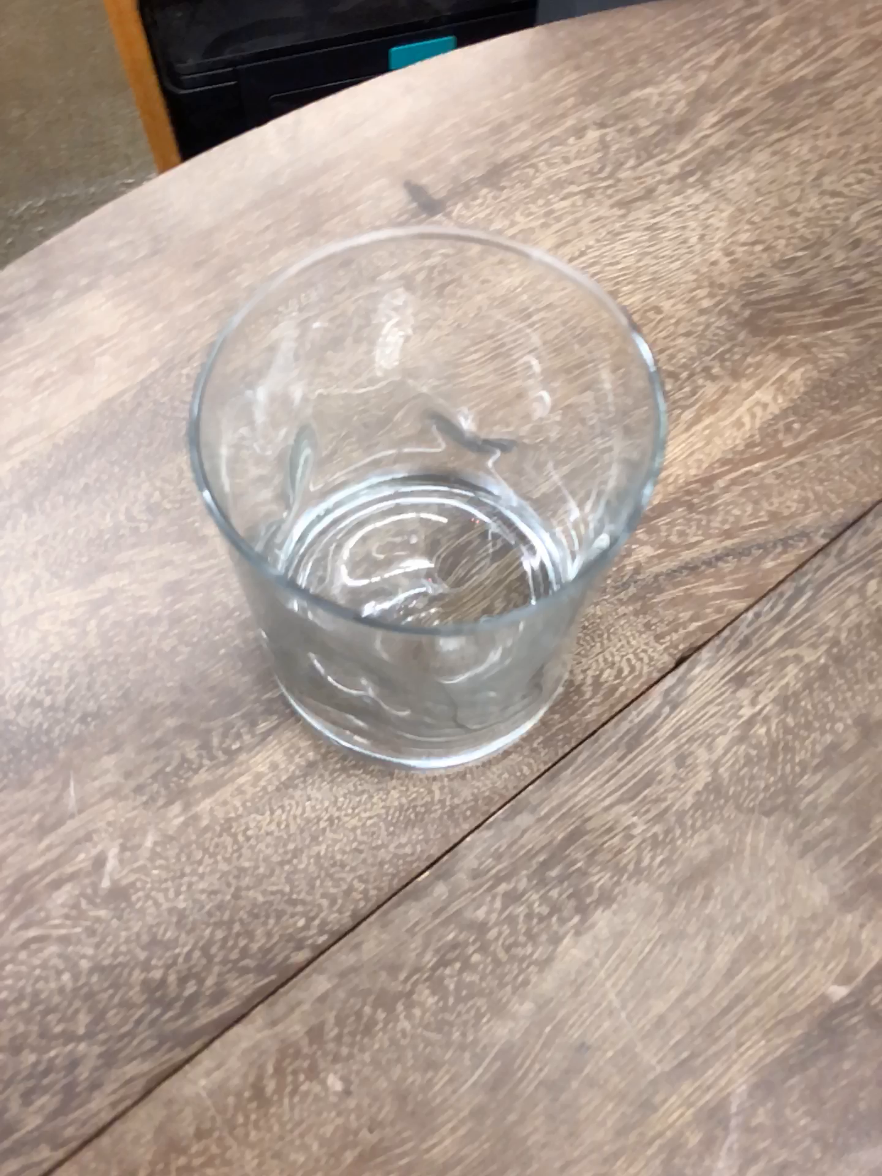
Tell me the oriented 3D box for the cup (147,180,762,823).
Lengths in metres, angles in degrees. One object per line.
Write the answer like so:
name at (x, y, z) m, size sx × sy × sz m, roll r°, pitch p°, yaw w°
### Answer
cup at (-0.002, -0.010, 0.203) m, size 0.084 × 0.098 × 0.084 m, roll 0°, pitch 66°, yaw -1°
